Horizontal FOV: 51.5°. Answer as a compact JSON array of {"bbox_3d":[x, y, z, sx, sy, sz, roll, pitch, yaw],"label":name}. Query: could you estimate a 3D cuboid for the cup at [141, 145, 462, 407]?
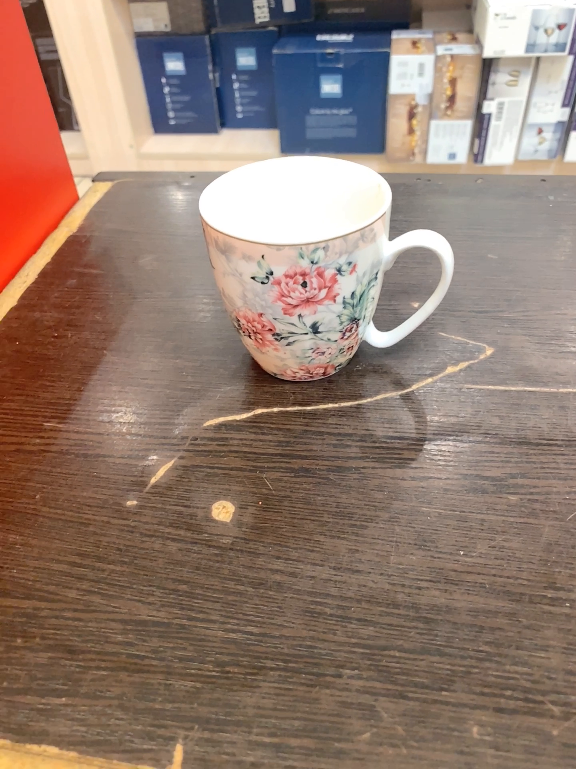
[{"bbox_3d":[0.011,-0.051,0.260,0.110,0.070,0.080,9,44,14],"label":"cup"}]
